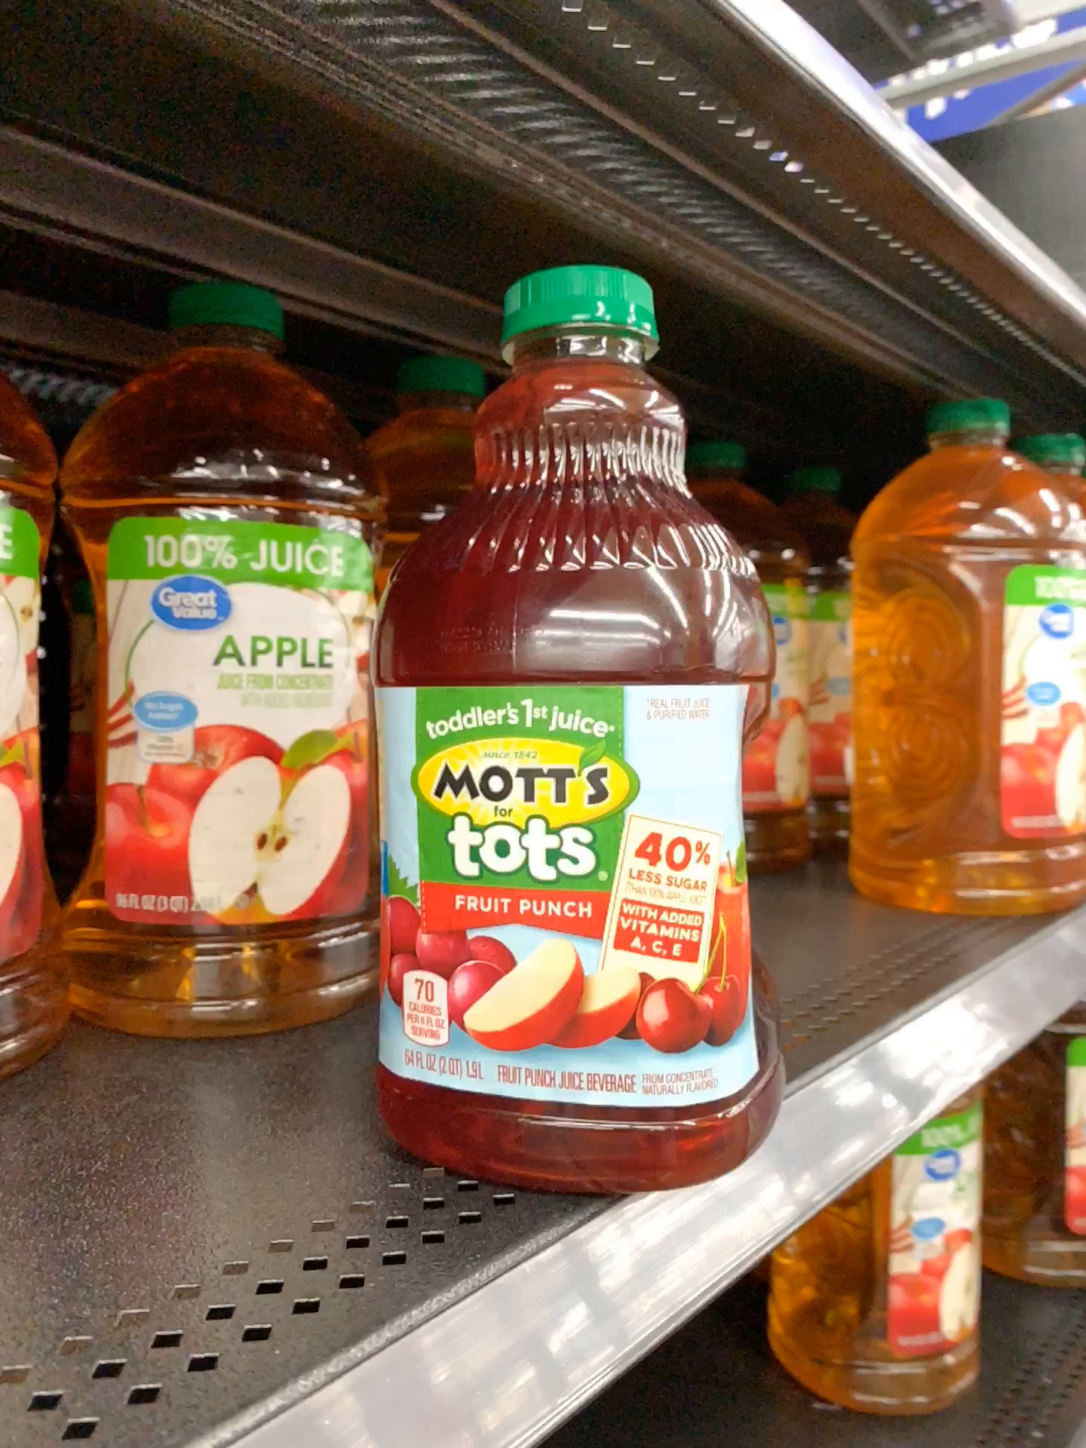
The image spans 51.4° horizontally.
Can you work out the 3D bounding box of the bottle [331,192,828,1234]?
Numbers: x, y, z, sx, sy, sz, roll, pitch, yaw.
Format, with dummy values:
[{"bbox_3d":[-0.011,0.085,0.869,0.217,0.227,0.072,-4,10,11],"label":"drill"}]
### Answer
[{"bbox_3d":[0.015,-0.005,0.335,0.120,0.250,0.110,1,3,0],"label":"bottle"}]
